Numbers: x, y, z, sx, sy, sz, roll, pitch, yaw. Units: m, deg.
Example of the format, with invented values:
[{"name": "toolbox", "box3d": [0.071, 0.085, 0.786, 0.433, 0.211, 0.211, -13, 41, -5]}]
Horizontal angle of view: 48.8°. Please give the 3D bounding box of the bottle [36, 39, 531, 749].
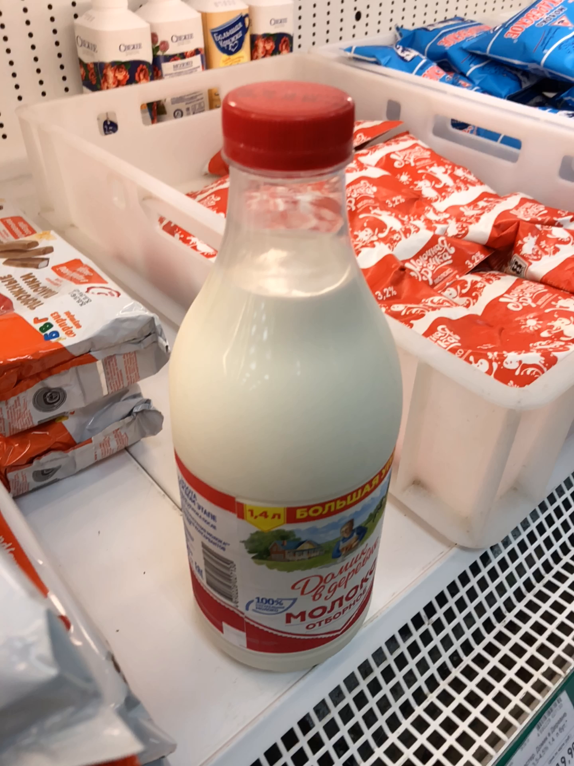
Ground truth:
[{"name": "bottle", "box3d": [-0.003, 0.024, 0.269, 0.110, 0.278, 0.090, -25, 46, -27]}]
